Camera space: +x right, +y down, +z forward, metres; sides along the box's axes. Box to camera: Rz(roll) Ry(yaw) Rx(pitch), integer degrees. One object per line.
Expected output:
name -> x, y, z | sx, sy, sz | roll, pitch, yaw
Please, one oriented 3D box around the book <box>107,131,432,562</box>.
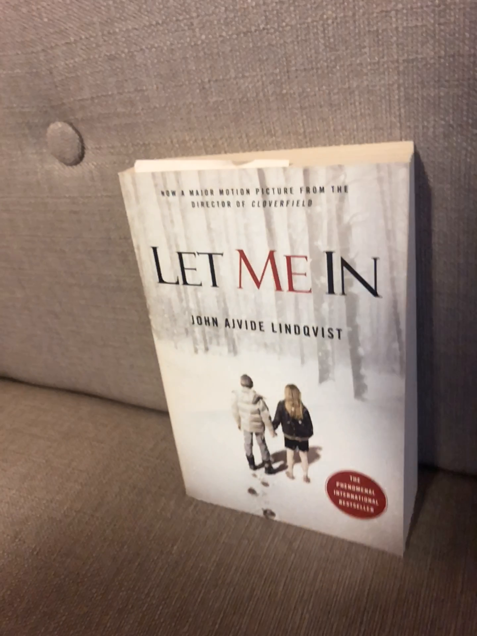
book -> 0.023, 0.019, 0.292 | 0.147, 0.215, 0.044 | 4, 25, 24
